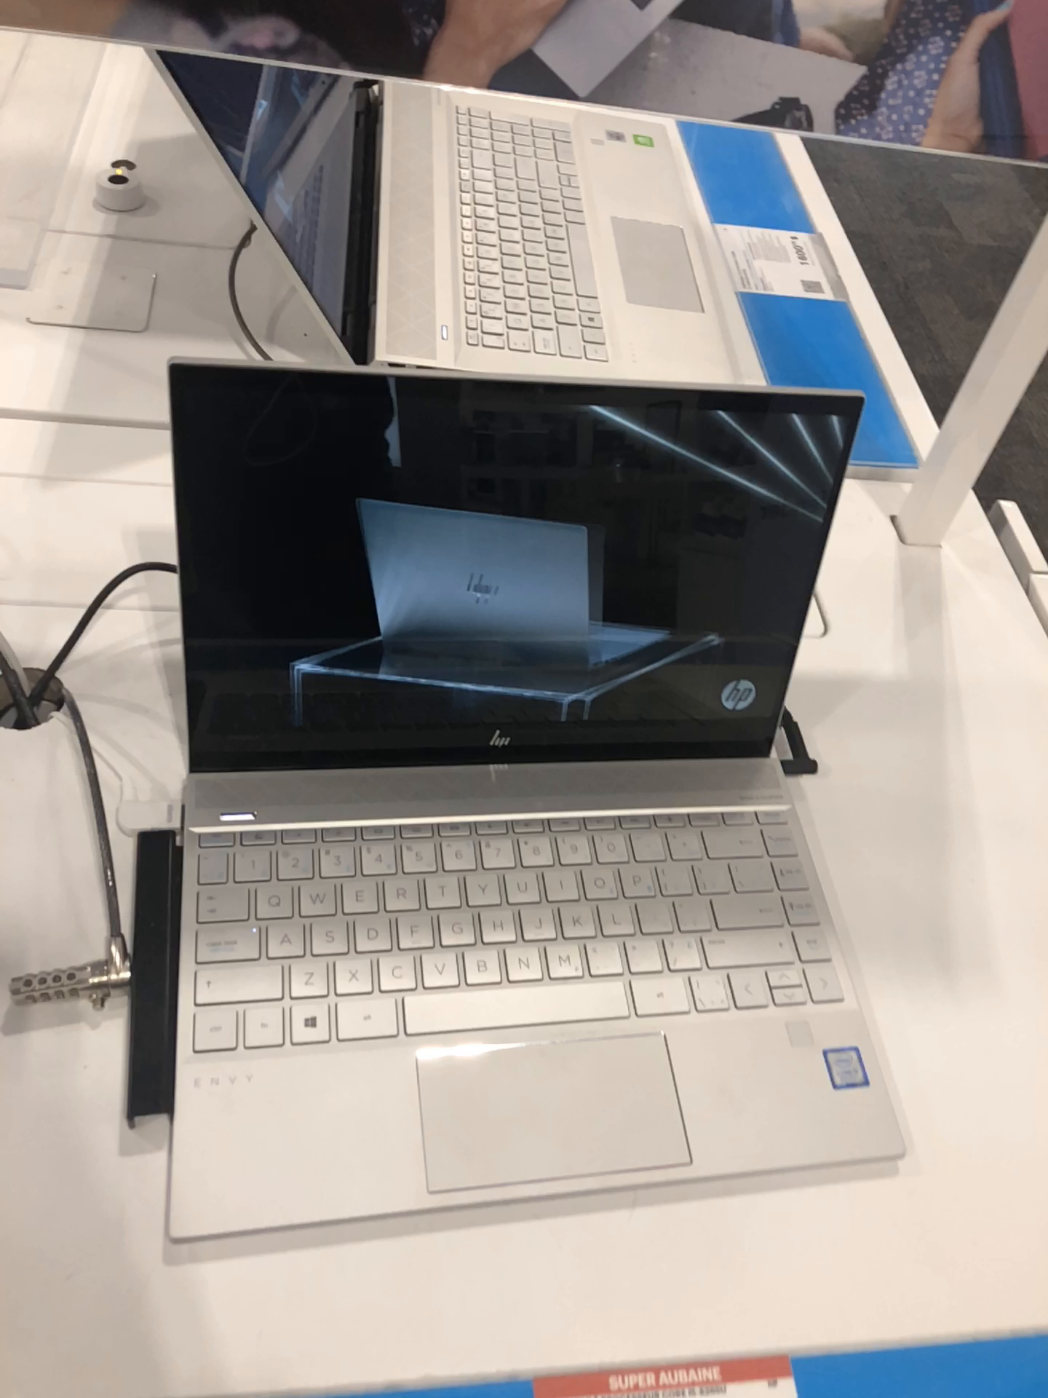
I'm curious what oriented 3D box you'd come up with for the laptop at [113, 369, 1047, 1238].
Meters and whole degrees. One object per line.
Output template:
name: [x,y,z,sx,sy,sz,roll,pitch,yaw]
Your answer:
laptop: [0.011,0.031,0.472,0.298,0.182,0.272,-1,52,-13]
